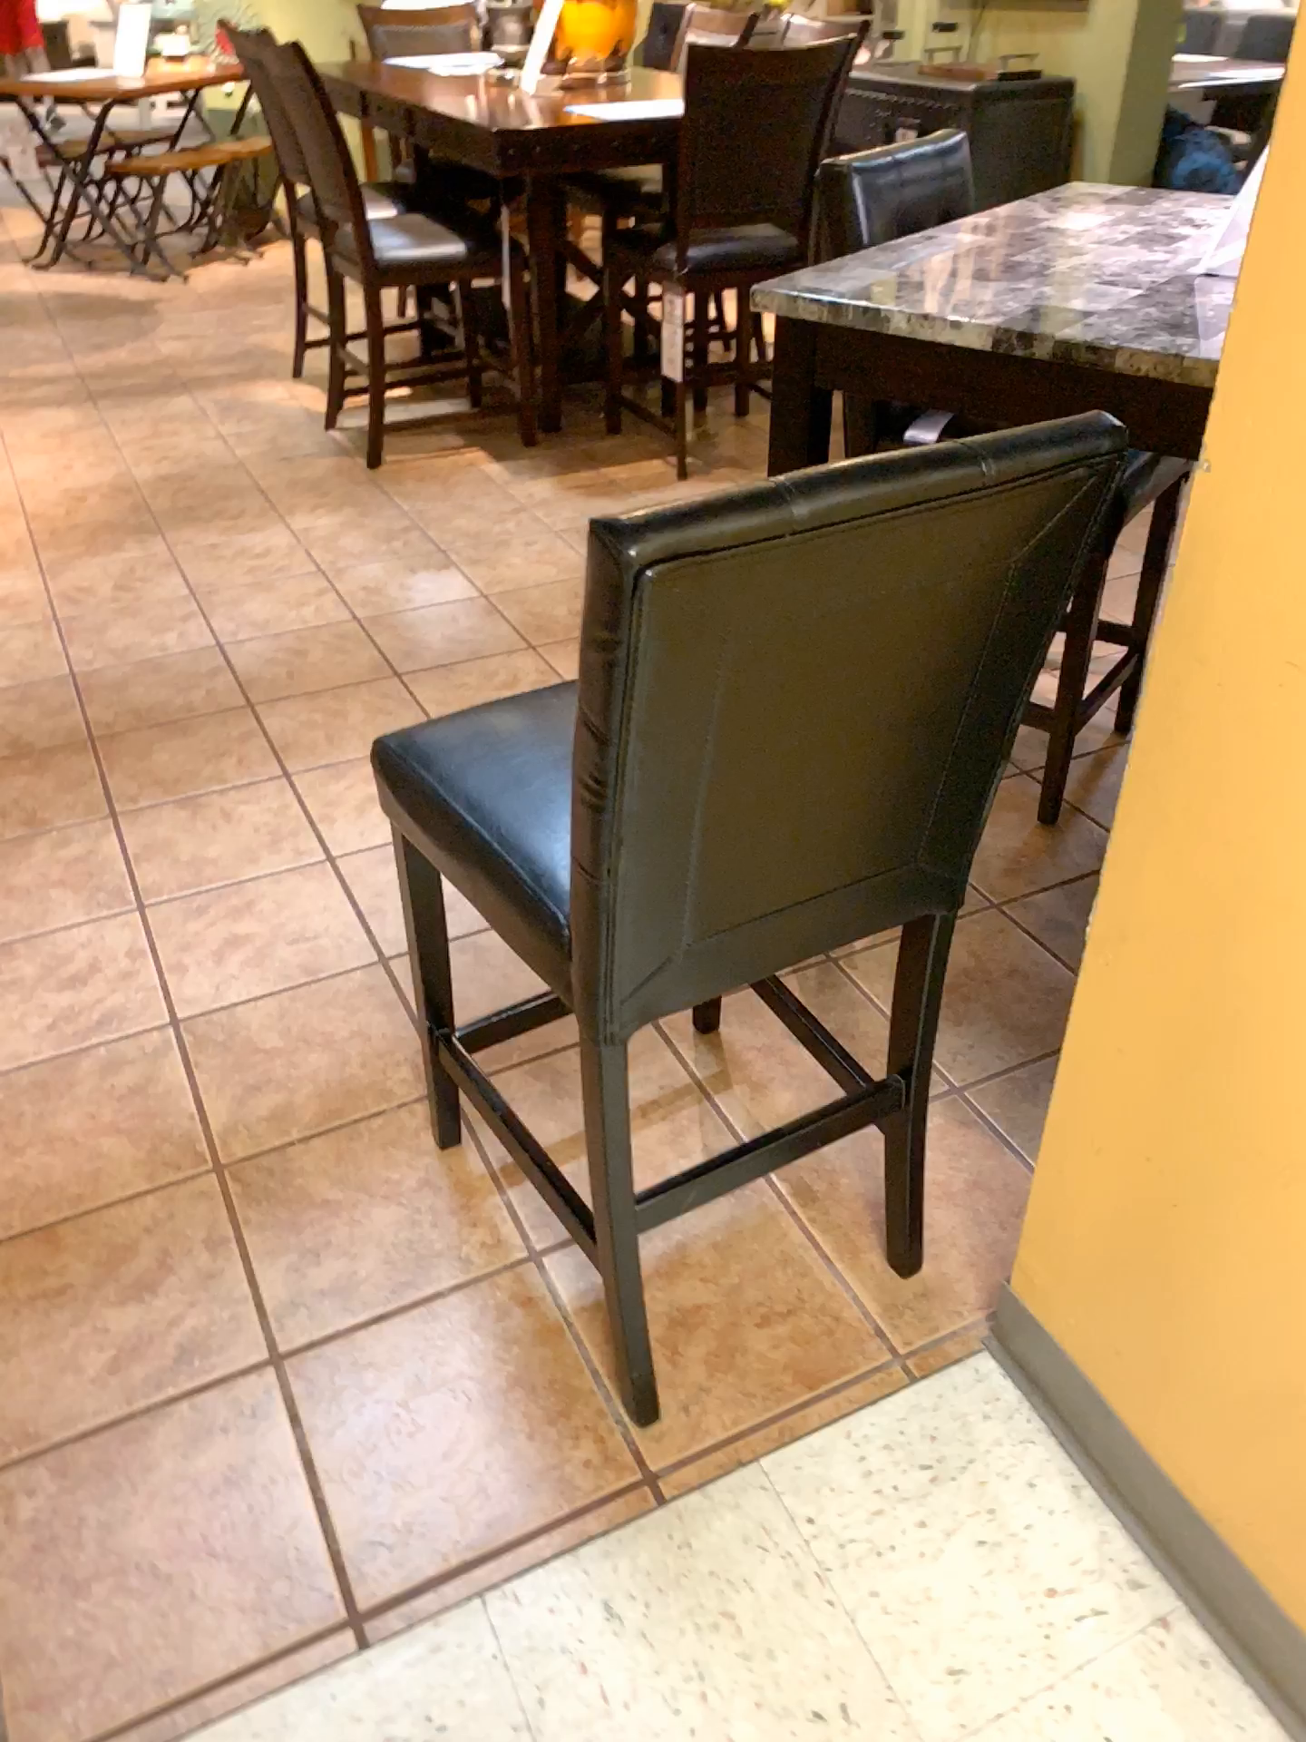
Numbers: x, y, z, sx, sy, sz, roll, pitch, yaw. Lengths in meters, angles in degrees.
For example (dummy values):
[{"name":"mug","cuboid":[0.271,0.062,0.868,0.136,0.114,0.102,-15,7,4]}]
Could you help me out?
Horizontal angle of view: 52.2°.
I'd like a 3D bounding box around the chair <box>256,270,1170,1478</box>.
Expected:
[{"name":"chair","cuboid":[0.012,-0.018,1.371,0.499,0.961,0.621,-19,39,-24]}]
